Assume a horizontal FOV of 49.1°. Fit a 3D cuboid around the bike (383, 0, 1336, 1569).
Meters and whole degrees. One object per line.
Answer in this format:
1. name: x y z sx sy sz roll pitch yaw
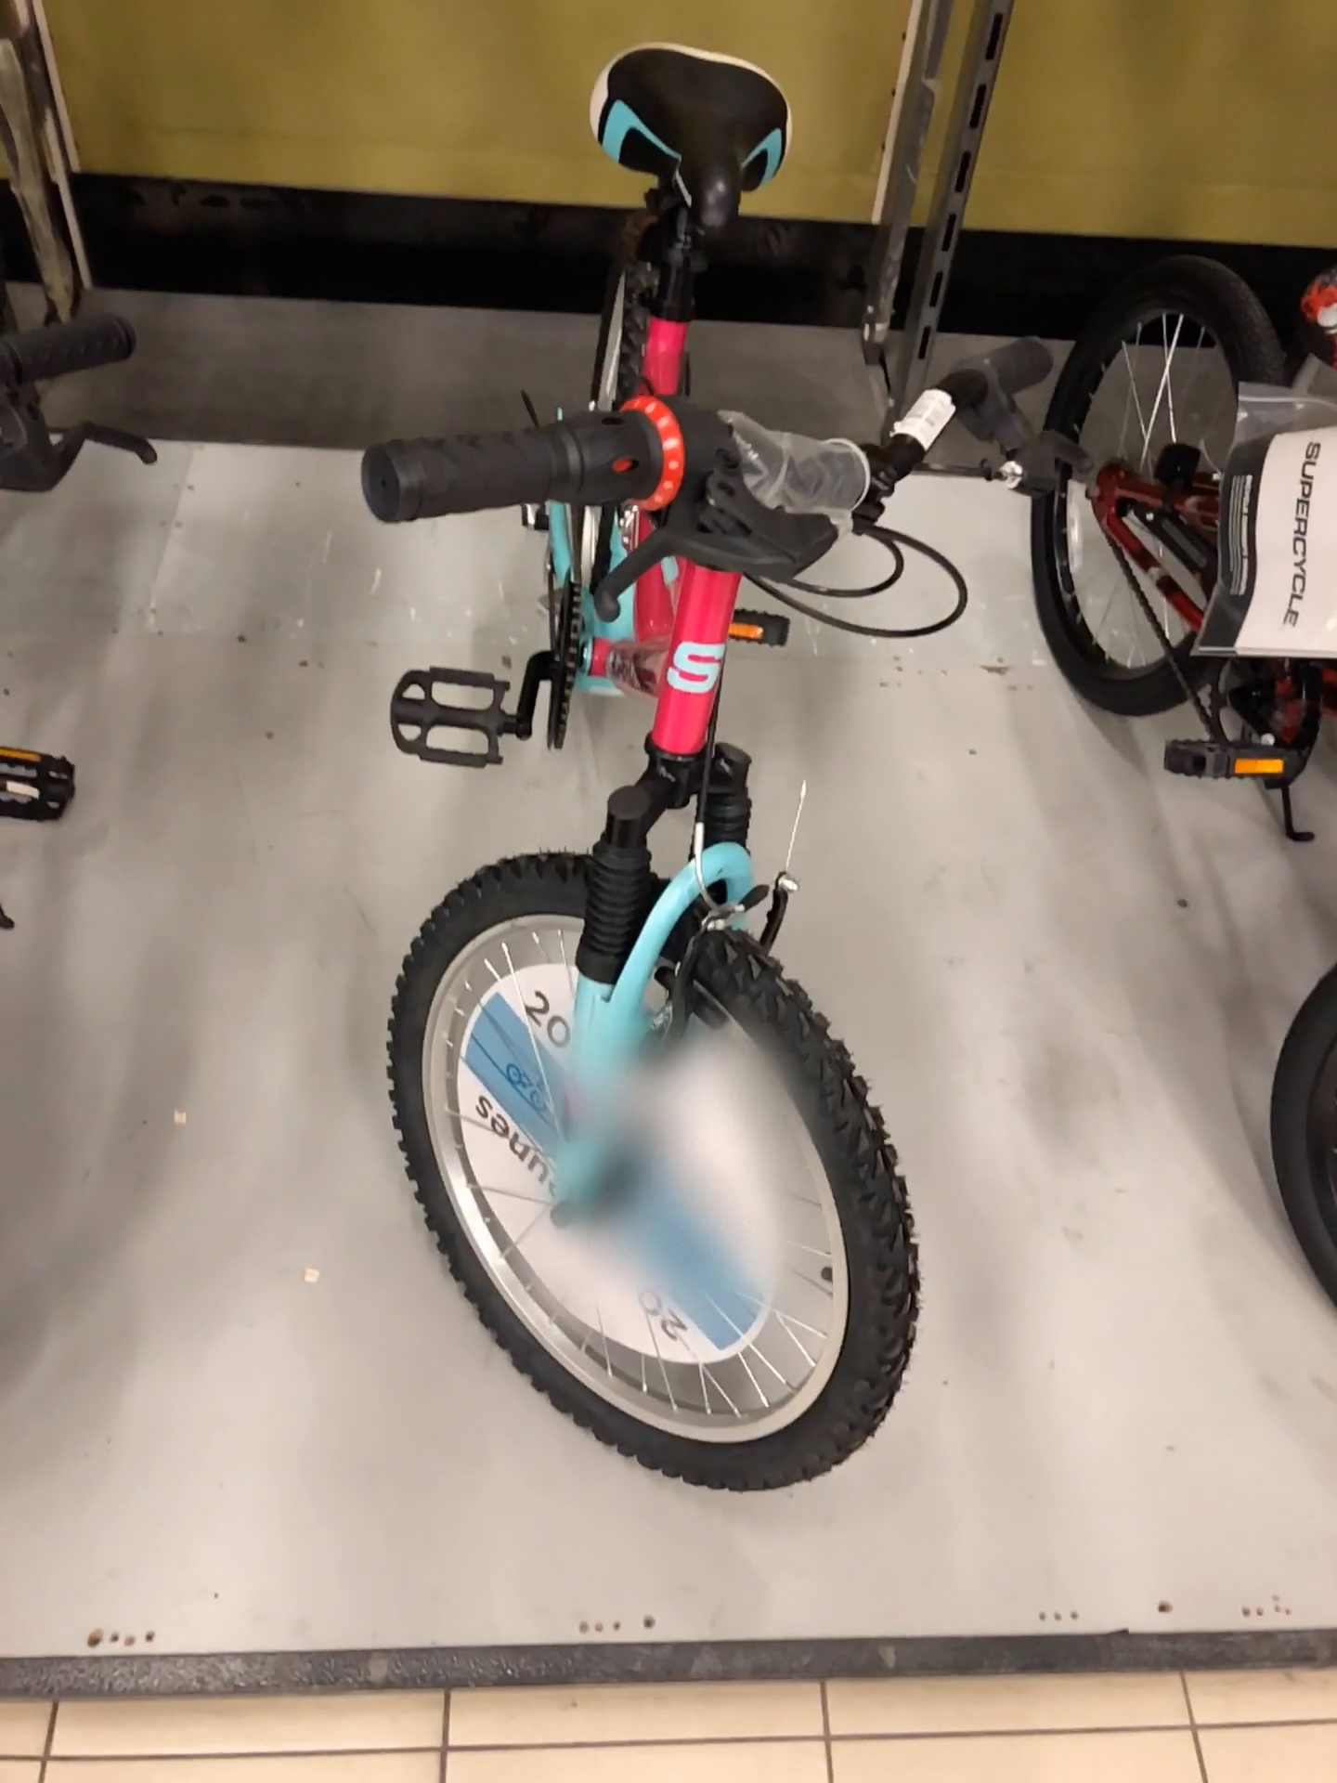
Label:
1. bike: 0.107 -0.217 1.209 0.563 0.764 1.219 -4 55 -8
